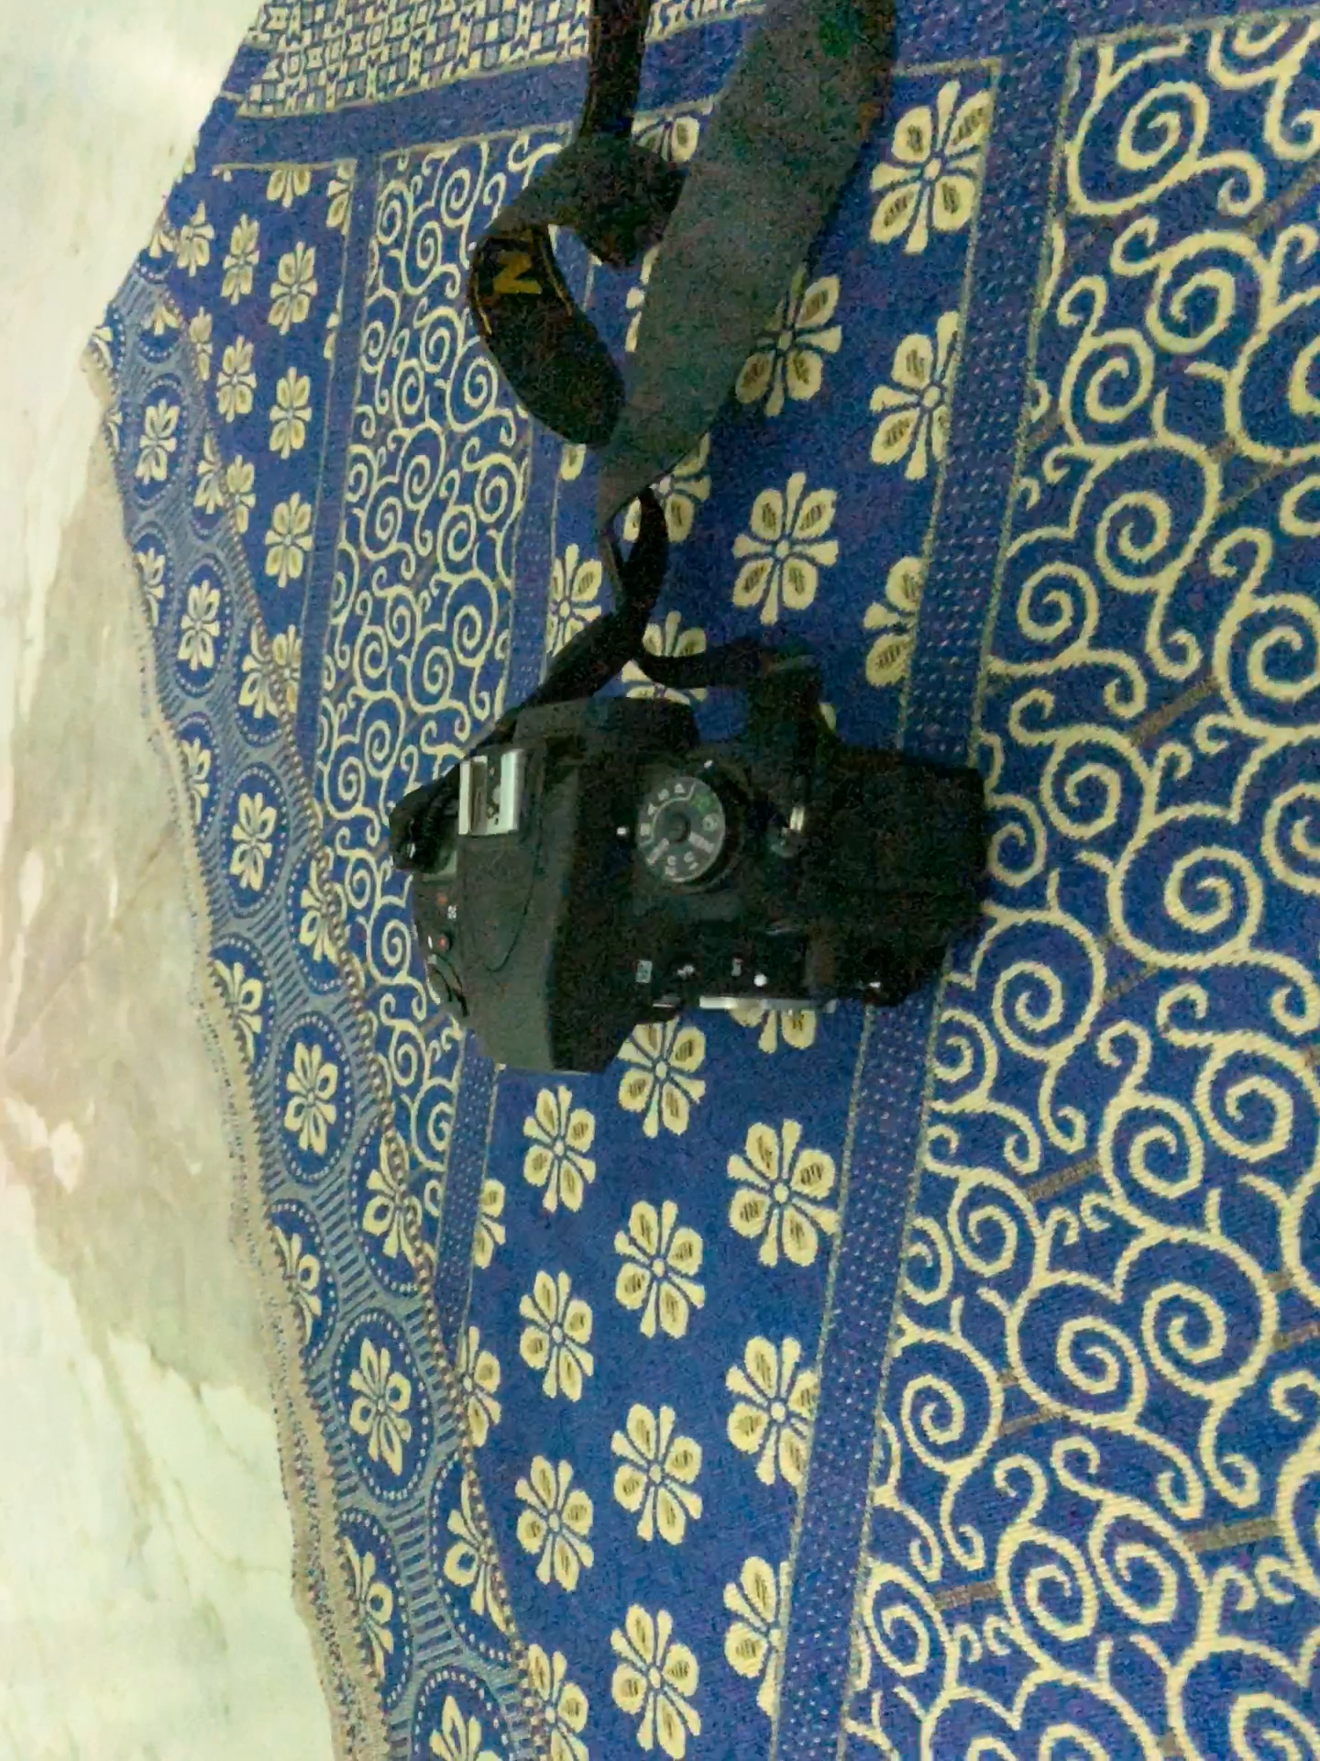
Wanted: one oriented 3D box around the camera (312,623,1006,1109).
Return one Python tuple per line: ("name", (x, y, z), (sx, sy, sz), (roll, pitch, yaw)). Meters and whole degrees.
("camera", (-0.008, 0.004, 0.329), (0.151, 0.089, 0.088), (-6, 83, 48))
